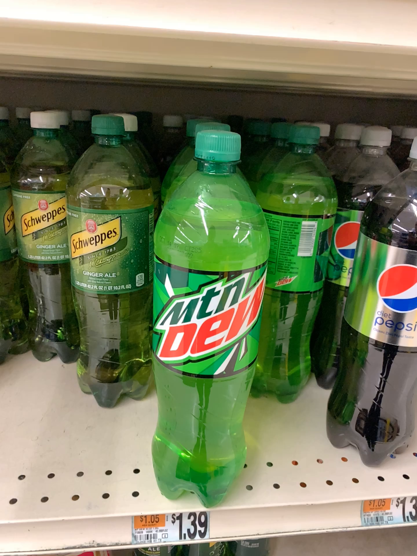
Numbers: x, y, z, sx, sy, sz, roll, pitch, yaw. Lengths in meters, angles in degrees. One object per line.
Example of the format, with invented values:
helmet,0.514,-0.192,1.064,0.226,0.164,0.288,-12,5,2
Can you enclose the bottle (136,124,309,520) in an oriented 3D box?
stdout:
bottle,-0.001,0.042,0.343,0.100,0.302,0.090,1,21,-4
